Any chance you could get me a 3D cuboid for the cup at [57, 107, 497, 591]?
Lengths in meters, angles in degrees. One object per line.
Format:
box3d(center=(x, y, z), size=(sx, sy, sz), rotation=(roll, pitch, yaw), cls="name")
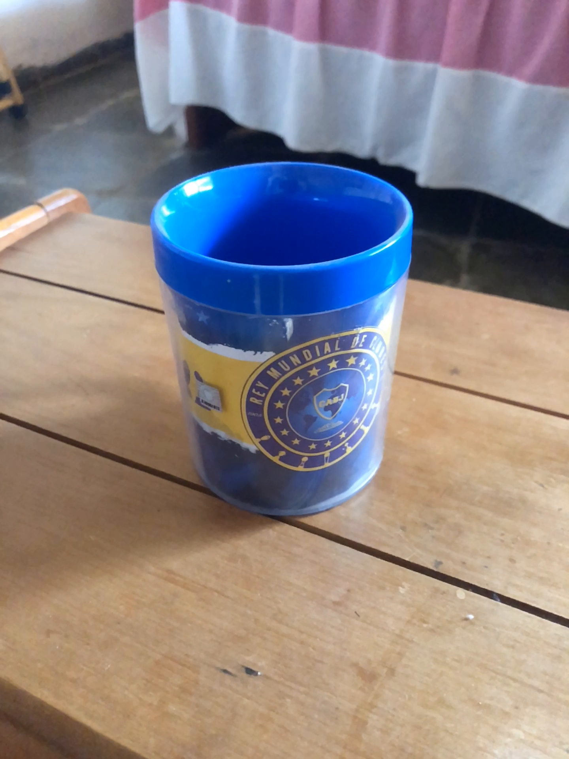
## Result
box3d(center=(-0.010, -0.021, 0.233), size=(0.090, 0.109, 0.121), rotation=(-20, 42, -23), cls="cup")
